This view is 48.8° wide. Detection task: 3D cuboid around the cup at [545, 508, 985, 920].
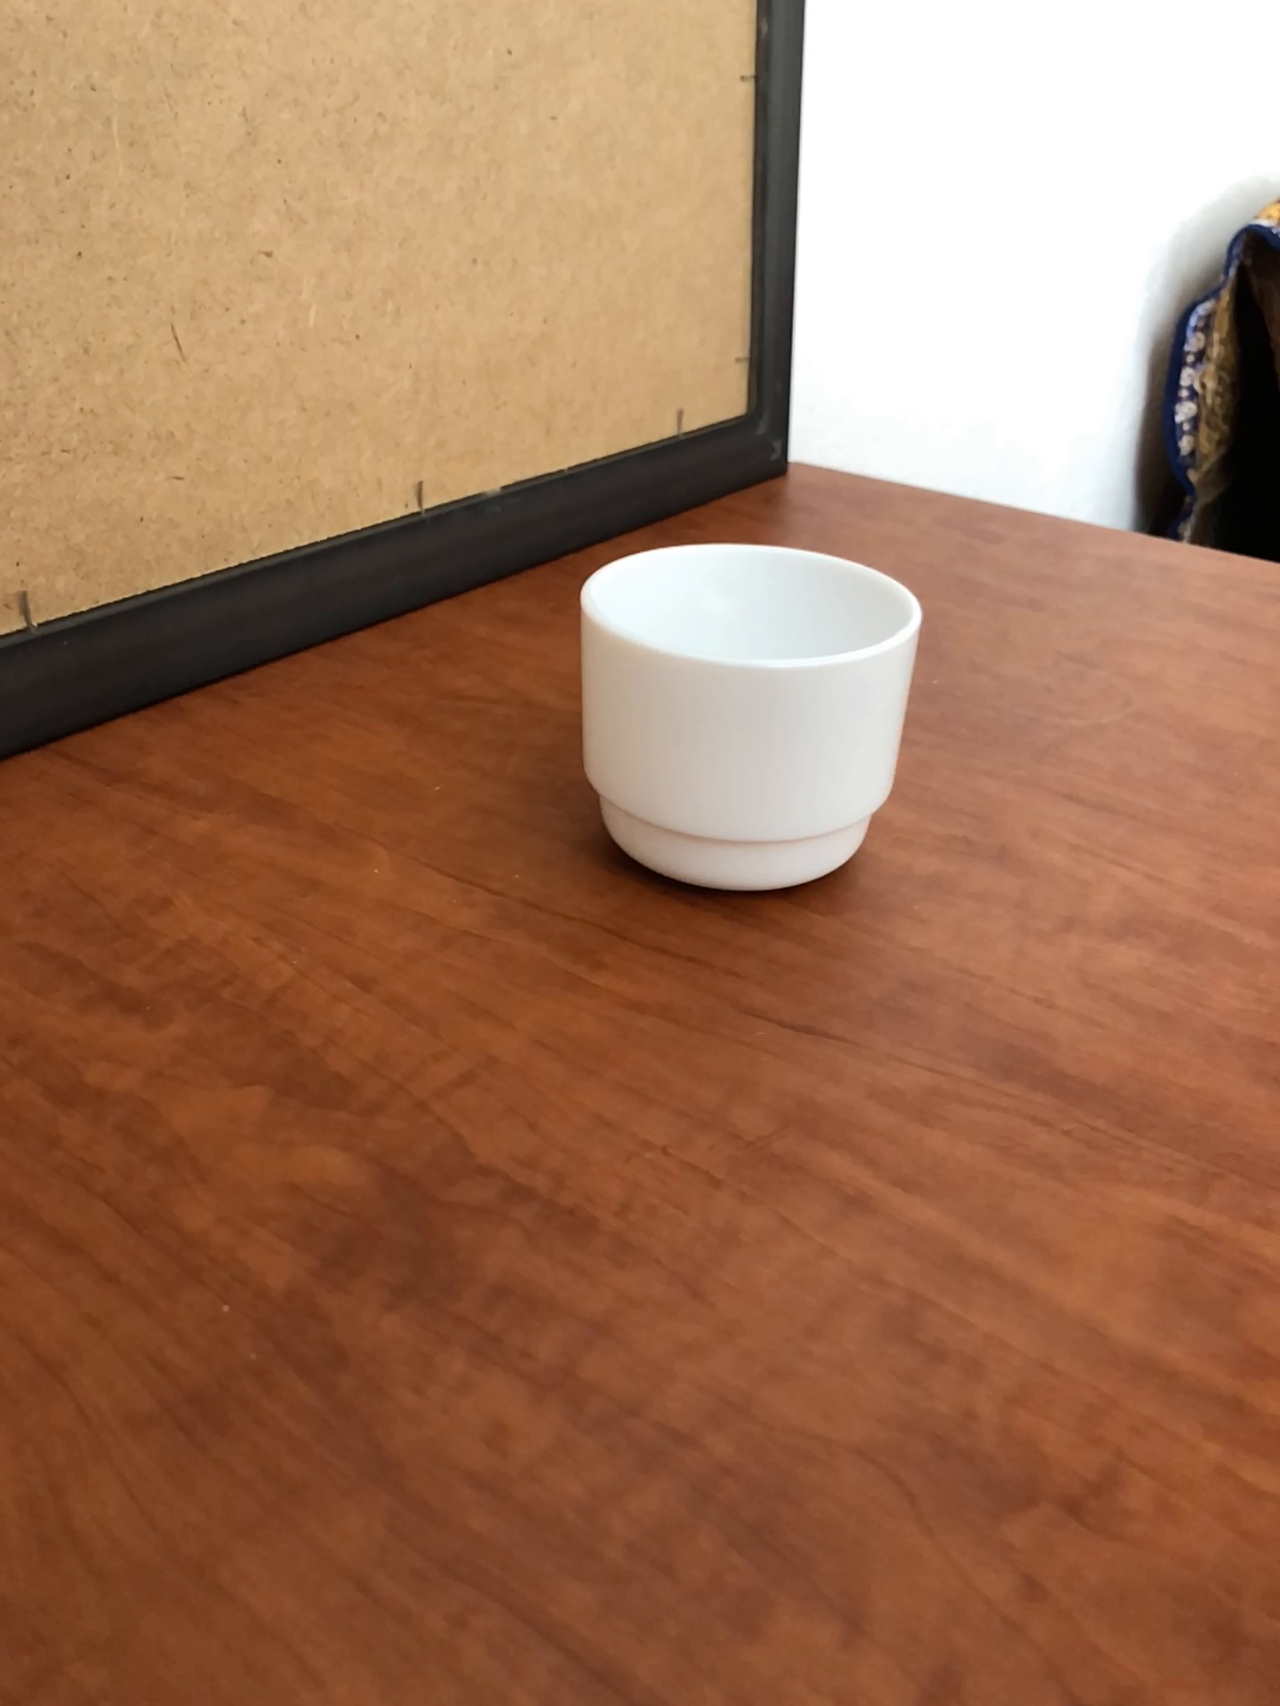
[{"bbox_3d":[0.023,-0.042,0.366,0.086,0.060,0.120,-2,30,-7],"label":"cup"}]
